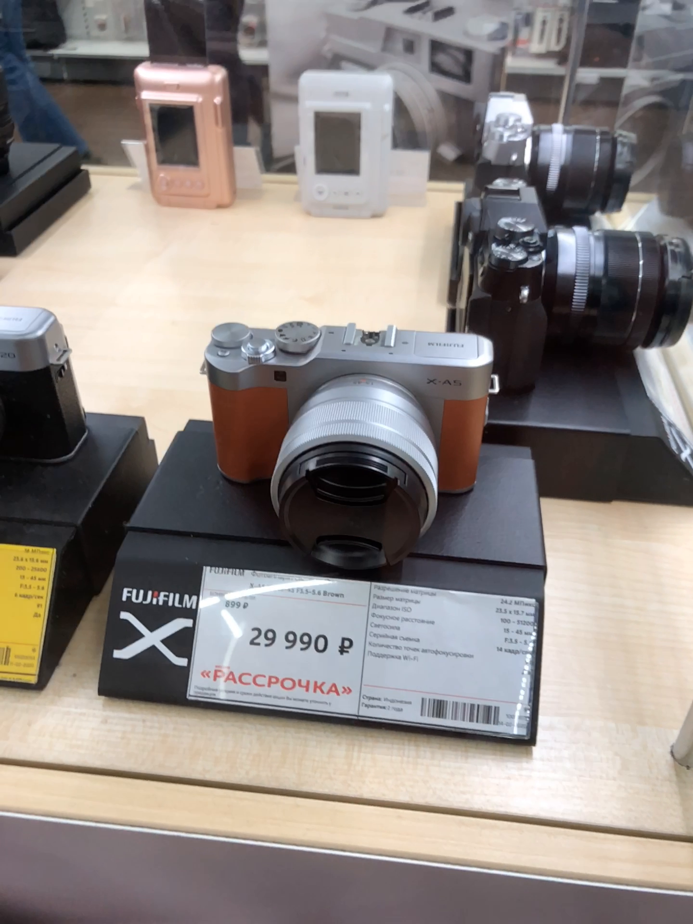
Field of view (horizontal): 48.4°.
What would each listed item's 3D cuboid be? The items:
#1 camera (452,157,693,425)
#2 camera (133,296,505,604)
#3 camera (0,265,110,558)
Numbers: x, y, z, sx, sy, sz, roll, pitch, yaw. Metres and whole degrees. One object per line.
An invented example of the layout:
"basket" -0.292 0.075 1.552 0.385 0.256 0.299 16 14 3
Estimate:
"camera" 0.118 -0.098 0.418 0.112 0.090 0.131 4 37 5
"camera" -0.005 -0.009 0.308 0.121 0.075 0.093 4 37 5
"camera" -0.179 -0.024 0.318 0.121 0.075 0.093 4 37 5
